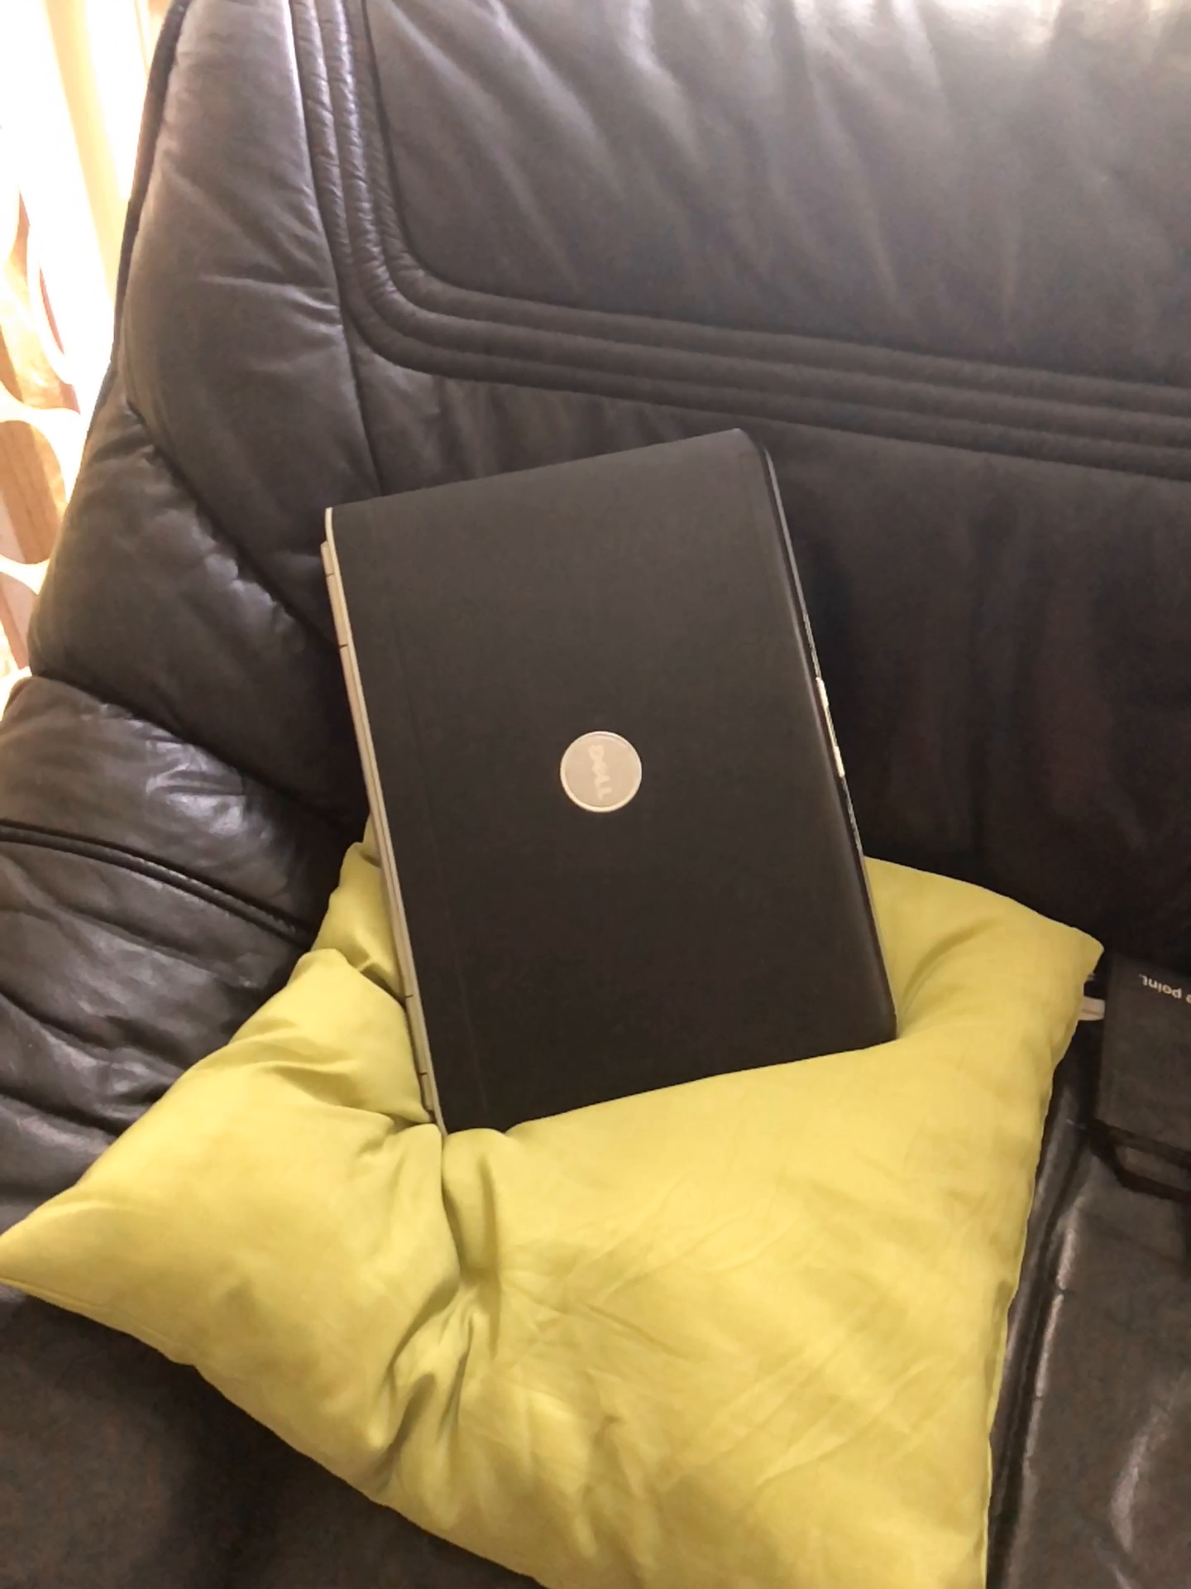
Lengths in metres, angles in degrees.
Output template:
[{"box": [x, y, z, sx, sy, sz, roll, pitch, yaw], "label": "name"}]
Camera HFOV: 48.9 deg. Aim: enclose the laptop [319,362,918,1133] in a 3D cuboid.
[{"box": [0.006, -0.028, 0.698, 0.247, 0.033, 0.345, -11, 82, -2], "label": "laptop"}]
